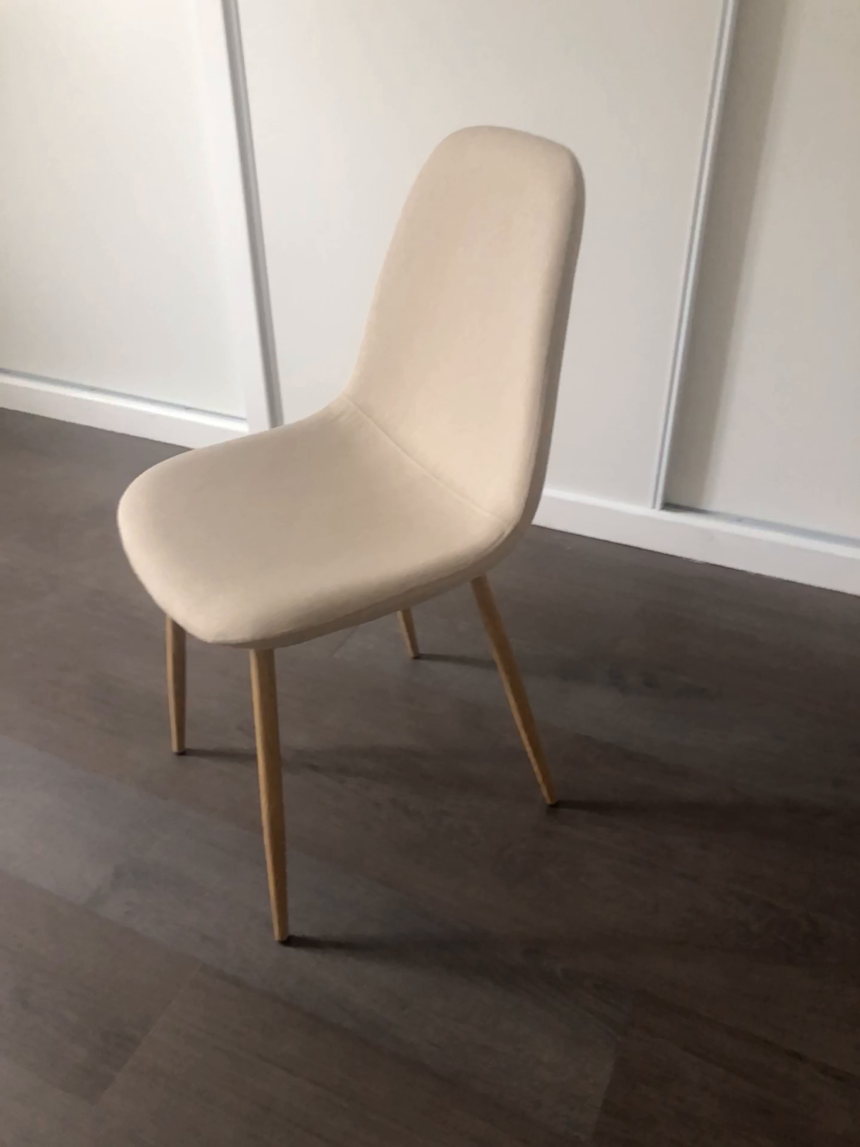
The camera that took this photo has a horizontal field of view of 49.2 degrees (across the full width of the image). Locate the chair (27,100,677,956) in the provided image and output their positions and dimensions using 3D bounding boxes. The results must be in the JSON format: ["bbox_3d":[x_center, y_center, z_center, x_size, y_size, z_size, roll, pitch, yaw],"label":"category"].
[{"bbox_3d":[-0.090,-0.066,1.154,0.502,0.845,0.431,-18,37,-24],"label":"chair"}]
